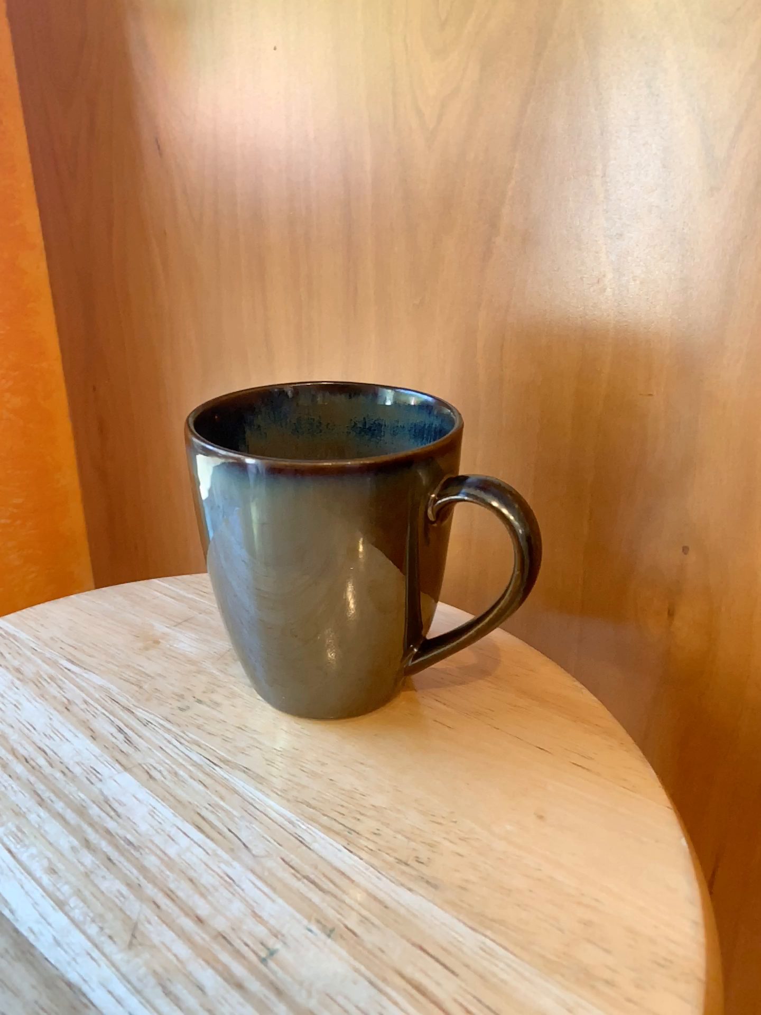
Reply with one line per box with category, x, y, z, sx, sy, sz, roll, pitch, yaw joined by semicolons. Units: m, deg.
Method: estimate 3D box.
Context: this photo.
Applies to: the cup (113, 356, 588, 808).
cup;-0.011;0.011;0.254;0.120;0.090;0.080;18;28;35
